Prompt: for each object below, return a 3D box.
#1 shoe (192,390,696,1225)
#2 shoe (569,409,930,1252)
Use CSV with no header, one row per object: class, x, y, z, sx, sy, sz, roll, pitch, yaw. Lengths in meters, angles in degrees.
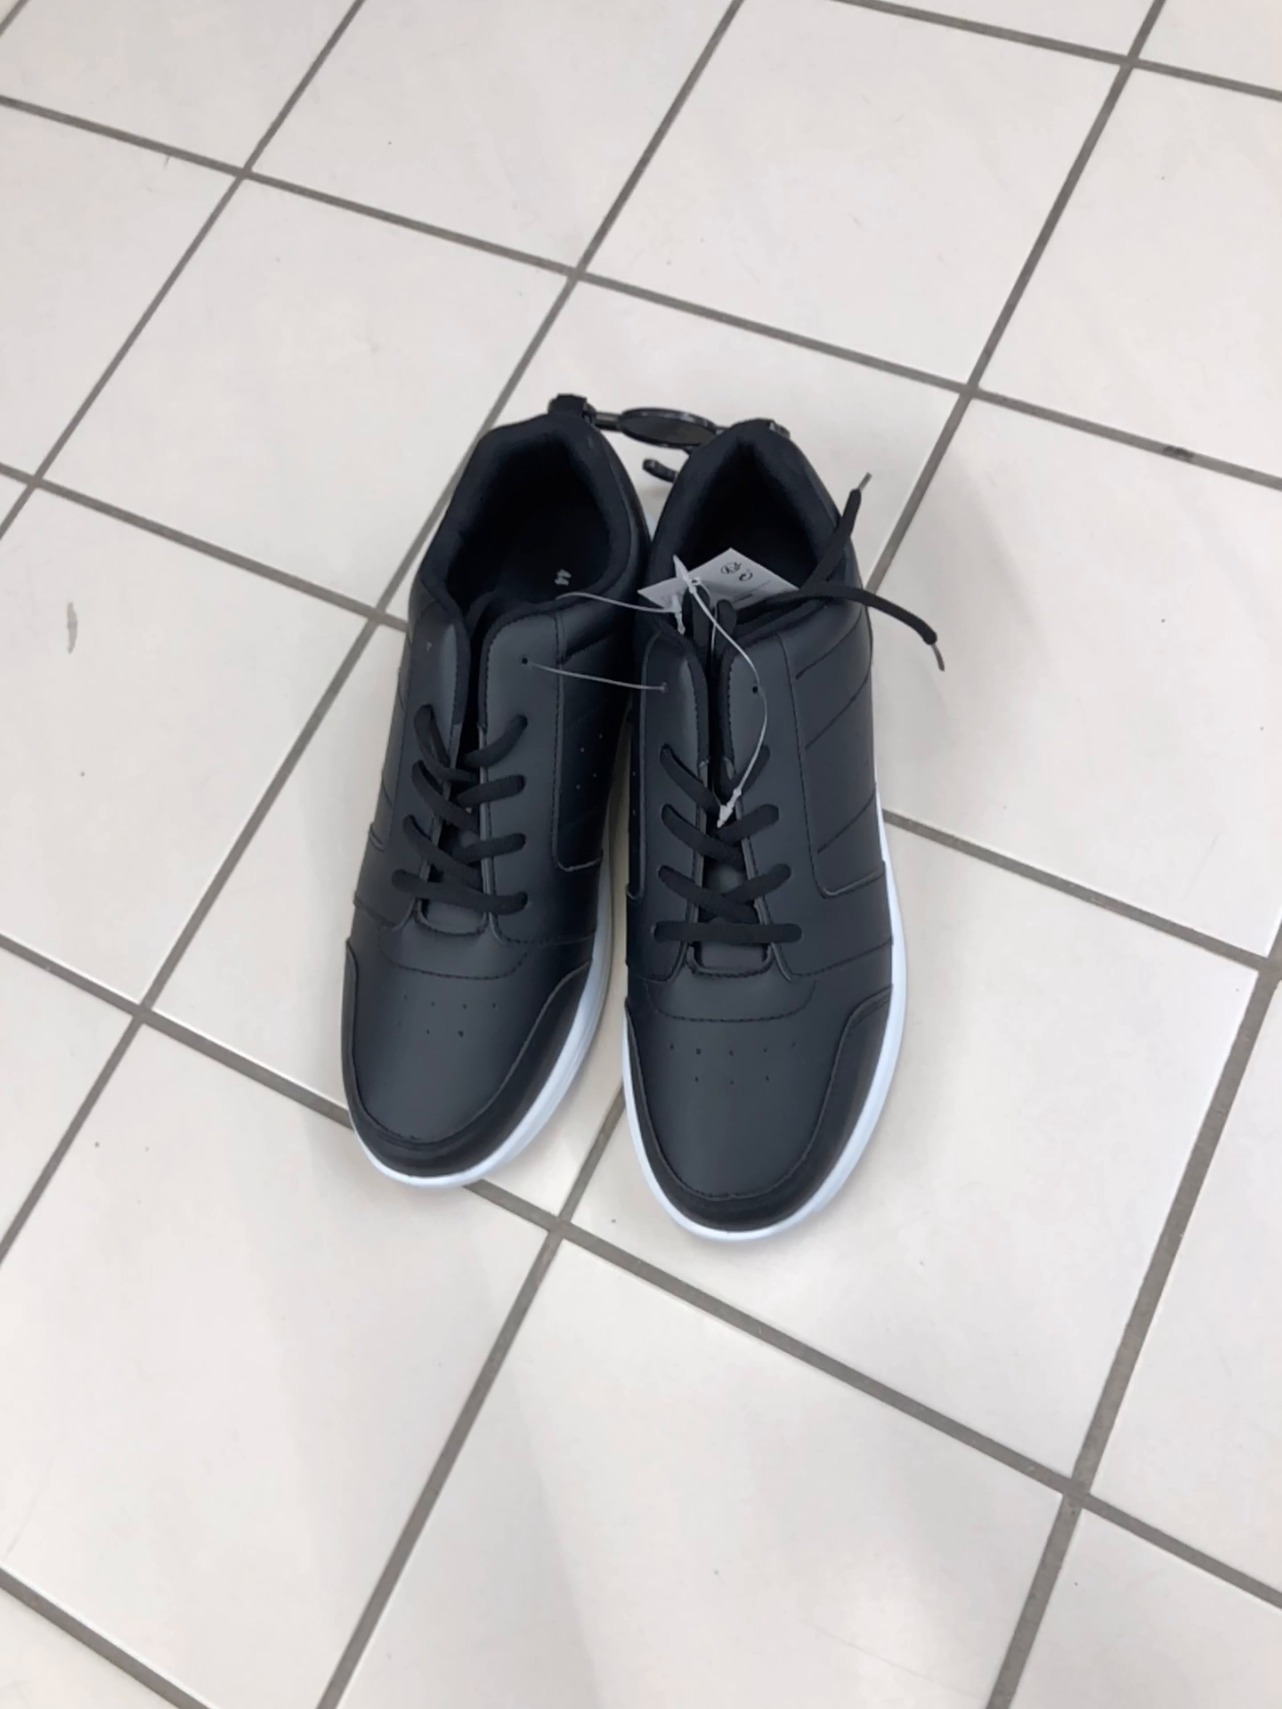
shoe,-0.059,-0.019,0.545,0.110,0.120,0.291,5,71,11
shoe,0.048,-0.007,0.535,0.110,0.120,0.291,0,70,9
